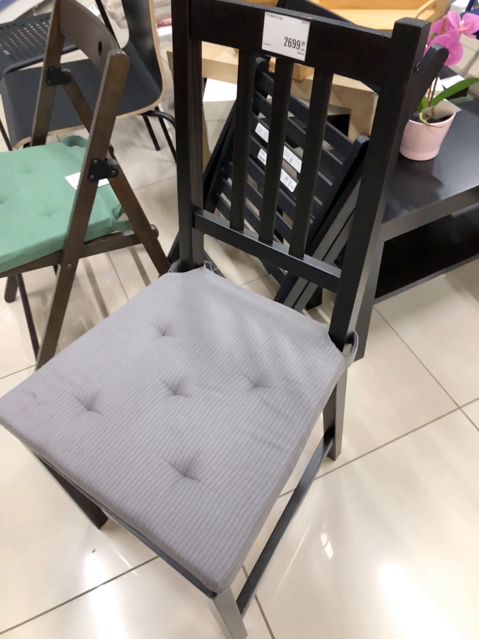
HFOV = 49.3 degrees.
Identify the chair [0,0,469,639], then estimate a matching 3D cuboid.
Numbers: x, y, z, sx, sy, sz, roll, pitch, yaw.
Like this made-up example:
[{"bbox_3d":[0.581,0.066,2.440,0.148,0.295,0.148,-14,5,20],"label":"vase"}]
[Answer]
[{"bbox_3d":[-0.061,0.089,0.798,0.411,0.894,0.492,28,58,26],"label":"chair"}]
